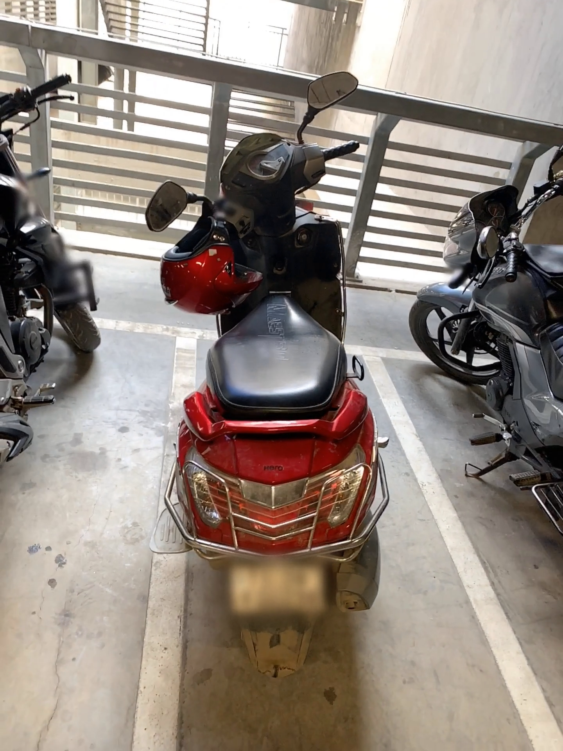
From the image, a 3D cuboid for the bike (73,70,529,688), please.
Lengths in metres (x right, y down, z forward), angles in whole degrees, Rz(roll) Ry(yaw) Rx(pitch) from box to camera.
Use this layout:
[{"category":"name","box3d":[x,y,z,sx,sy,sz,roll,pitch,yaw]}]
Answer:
[{"category":"bike","box3d":[-0.153,-0.201,1.947,0.725,1.165,1.858,5,33,-11]}]
